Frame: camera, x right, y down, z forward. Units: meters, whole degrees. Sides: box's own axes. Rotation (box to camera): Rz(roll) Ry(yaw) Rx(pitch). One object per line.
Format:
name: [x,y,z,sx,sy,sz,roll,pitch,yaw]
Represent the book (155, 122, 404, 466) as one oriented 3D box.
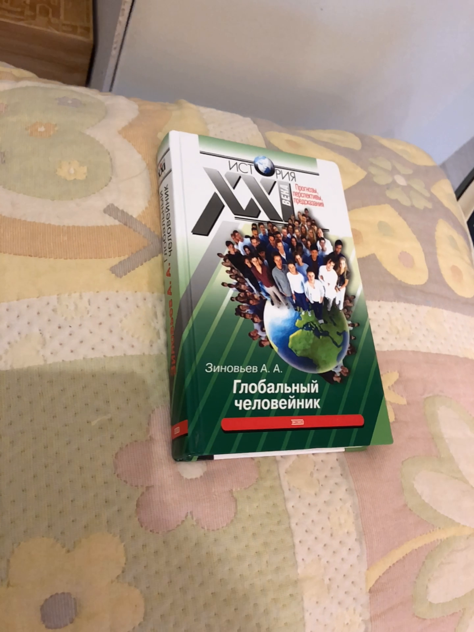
book: [0.021,-0.017,0.337,0.134,0.036,0.207,4,67,-24]
